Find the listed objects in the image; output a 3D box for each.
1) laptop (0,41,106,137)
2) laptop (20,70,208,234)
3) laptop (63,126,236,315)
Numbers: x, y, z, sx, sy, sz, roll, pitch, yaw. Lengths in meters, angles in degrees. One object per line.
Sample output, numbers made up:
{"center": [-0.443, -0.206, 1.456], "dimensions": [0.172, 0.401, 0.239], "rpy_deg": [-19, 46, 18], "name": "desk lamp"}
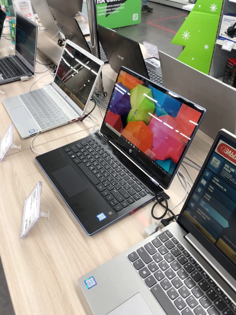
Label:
{"center": [-0.259, -0.277, 0.974], "dimensions": [0.323, 0.171, 0.293], "rpy_deg": [-24, 46, -24], "name": "laptop"}
{"center": [-0.022, -0.053, 0.675], "dimensions": [0.326, 0.194, 0.327], "rpy_deg": [-24, 43, -26], "name": "laptop"}
{"center": [0.157, 0.177, 0.346], "dimensions": [0.330, 0.218, 0.353], "rpy_deg": [-21, 42, -23], "name": "laptop"}
